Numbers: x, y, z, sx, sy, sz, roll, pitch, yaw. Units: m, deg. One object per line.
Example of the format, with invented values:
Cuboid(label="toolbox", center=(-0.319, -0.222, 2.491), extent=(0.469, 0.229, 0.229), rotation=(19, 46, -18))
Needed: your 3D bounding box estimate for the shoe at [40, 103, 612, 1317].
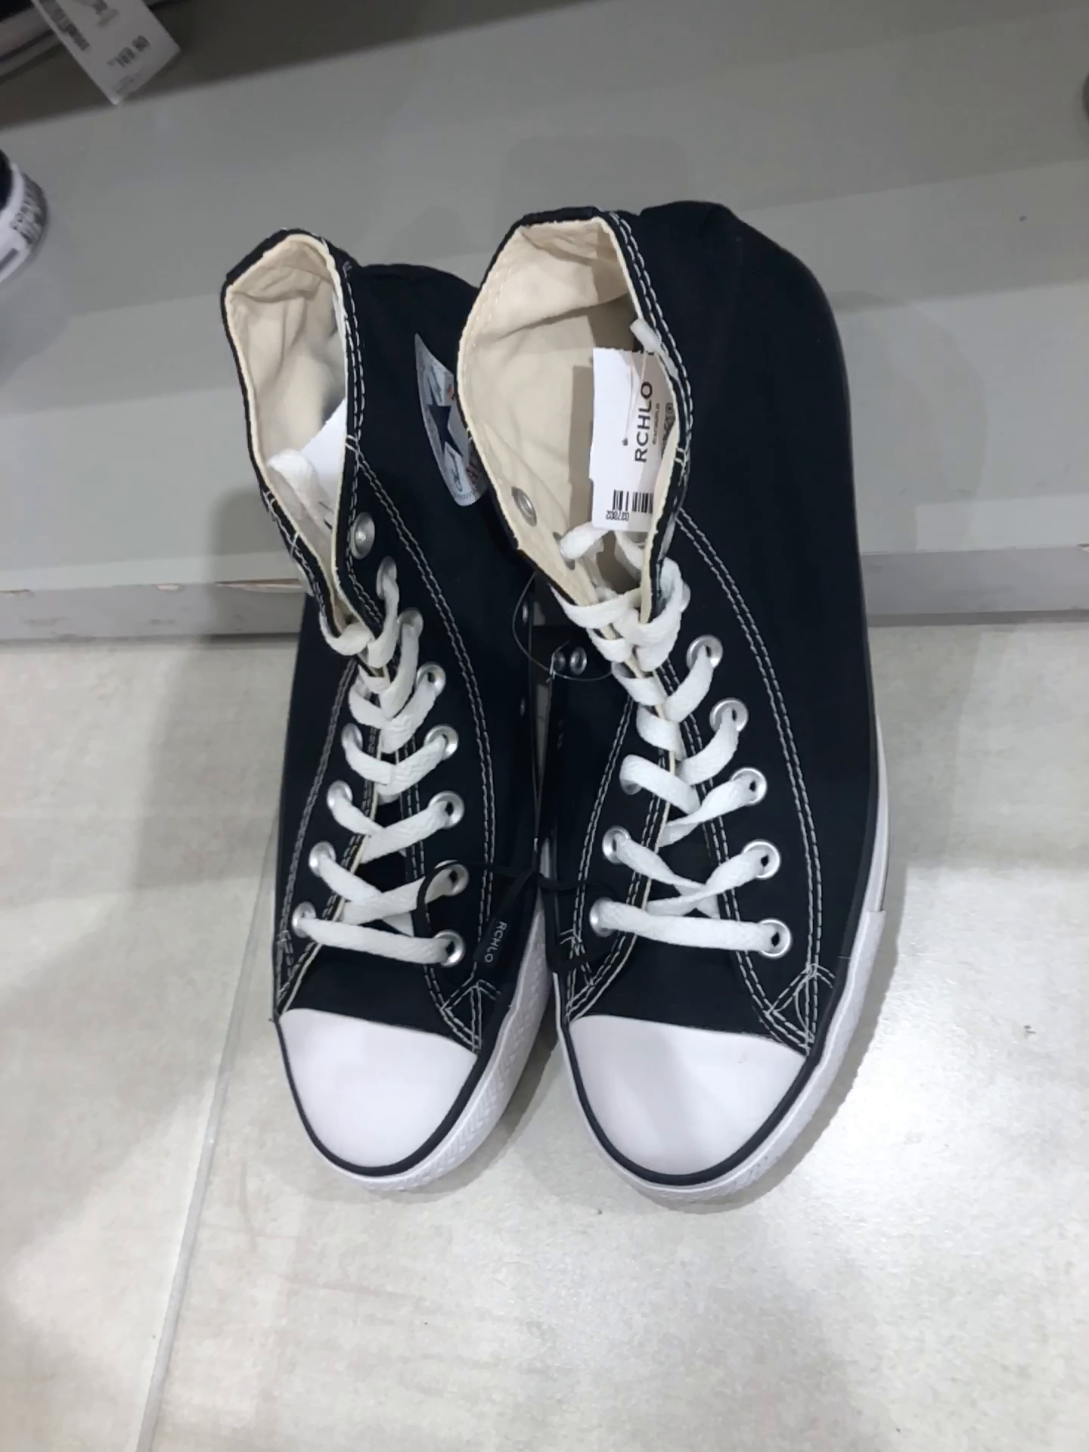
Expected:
Cuboid(label="shoe", center=(-0.062, -0.006, 0.394), extent=(0.120, 0.140, 0.310), rotation=(3, 92, 21))

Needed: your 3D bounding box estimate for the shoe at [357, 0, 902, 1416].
Cuboid(label="shoe", center=(0.034, -0.017, 0.345), extent=(0.120, 0.140, 0.330), rotation=(1, 92, 20))
